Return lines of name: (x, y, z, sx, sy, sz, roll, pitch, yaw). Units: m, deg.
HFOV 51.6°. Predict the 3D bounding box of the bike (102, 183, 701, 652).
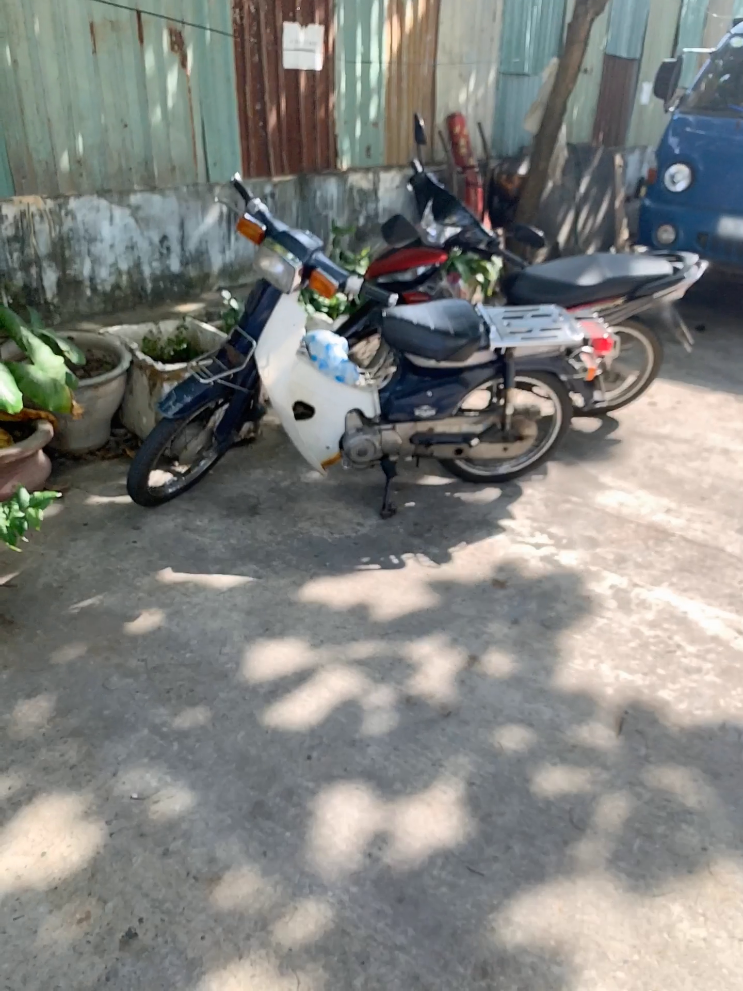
bike: (0.036, -0.309, 2.311, 1.476, 1.024, 0.655, -9, 30, -18)
